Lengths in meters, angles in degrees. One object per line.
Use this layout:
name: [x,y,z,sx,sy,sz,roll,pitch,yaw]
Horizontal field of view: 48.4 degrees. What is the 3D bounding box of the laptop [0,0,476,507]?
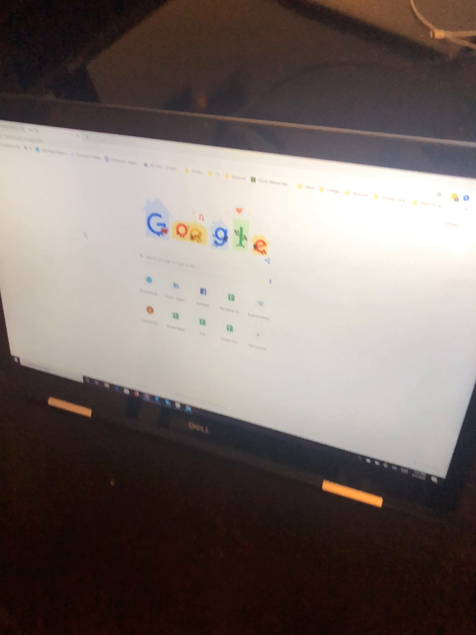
laptop: [-0.002,-0.076,0.406,0.419,0.232,0.267,13,62,18]
